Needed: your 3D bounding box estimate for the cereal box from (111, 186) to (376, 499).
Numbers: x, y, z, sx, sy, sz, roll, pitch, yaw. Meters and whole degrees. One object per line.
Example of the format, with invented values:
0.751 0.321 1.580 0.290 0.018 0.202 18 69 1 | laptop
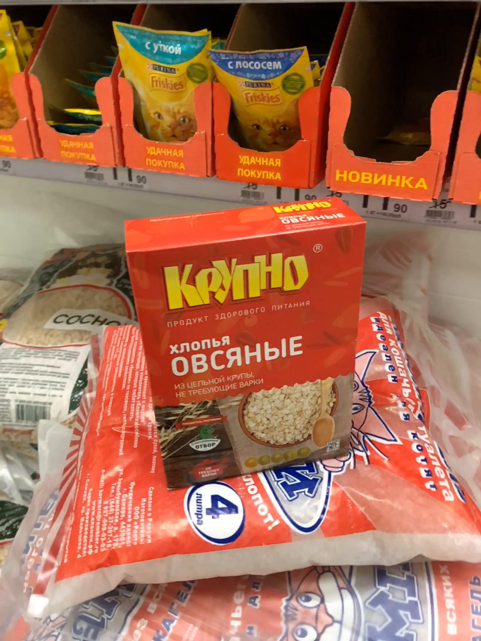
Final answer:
0.001 0.020 0.369 0.150 0.199 0.060 -7 32 -9 | cereal box
